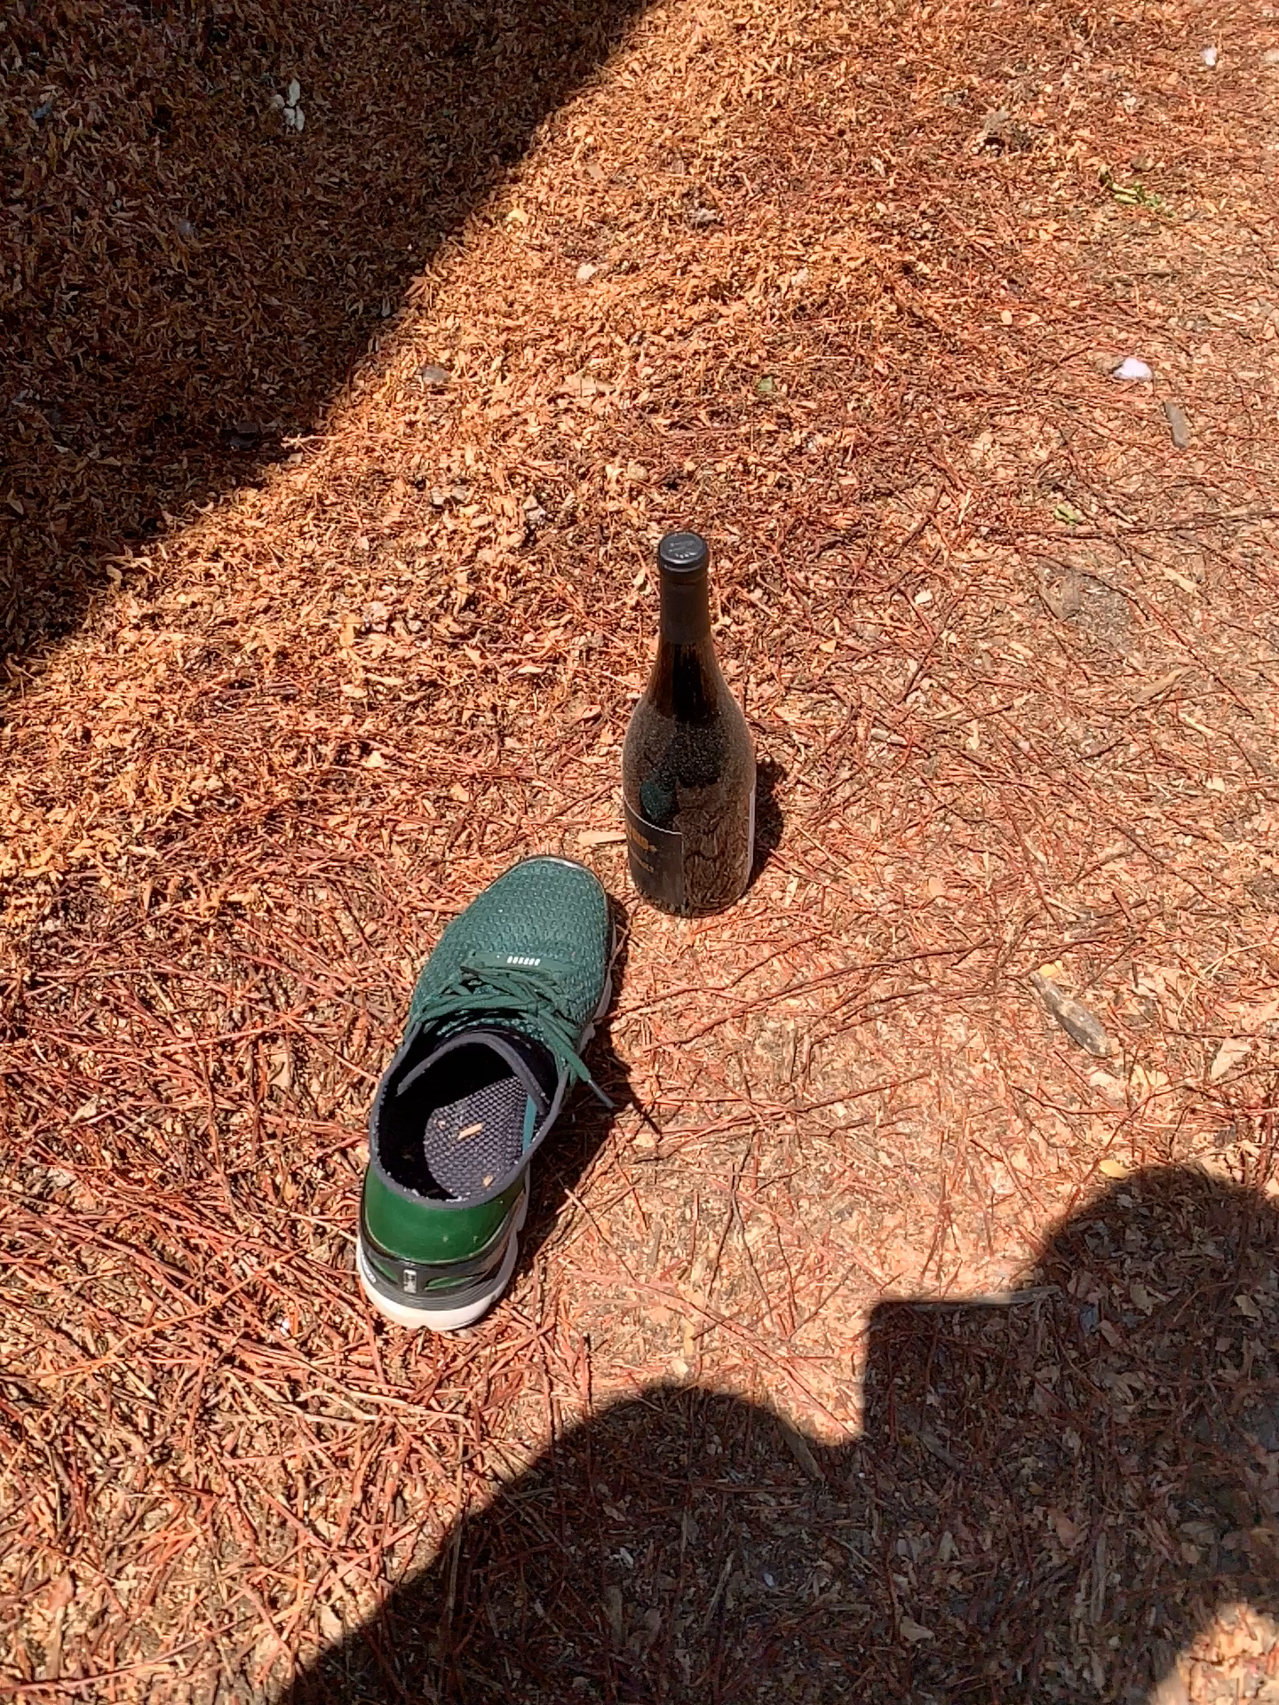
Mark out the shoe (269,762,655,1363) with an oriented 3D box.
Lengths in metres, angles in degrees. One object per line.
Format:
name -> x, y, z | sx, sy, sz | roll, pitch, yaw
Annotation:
shoe -> -0.083, 0.104, 0.752 | 0.130, 0.100, 0.321 | 8, 49, 7
